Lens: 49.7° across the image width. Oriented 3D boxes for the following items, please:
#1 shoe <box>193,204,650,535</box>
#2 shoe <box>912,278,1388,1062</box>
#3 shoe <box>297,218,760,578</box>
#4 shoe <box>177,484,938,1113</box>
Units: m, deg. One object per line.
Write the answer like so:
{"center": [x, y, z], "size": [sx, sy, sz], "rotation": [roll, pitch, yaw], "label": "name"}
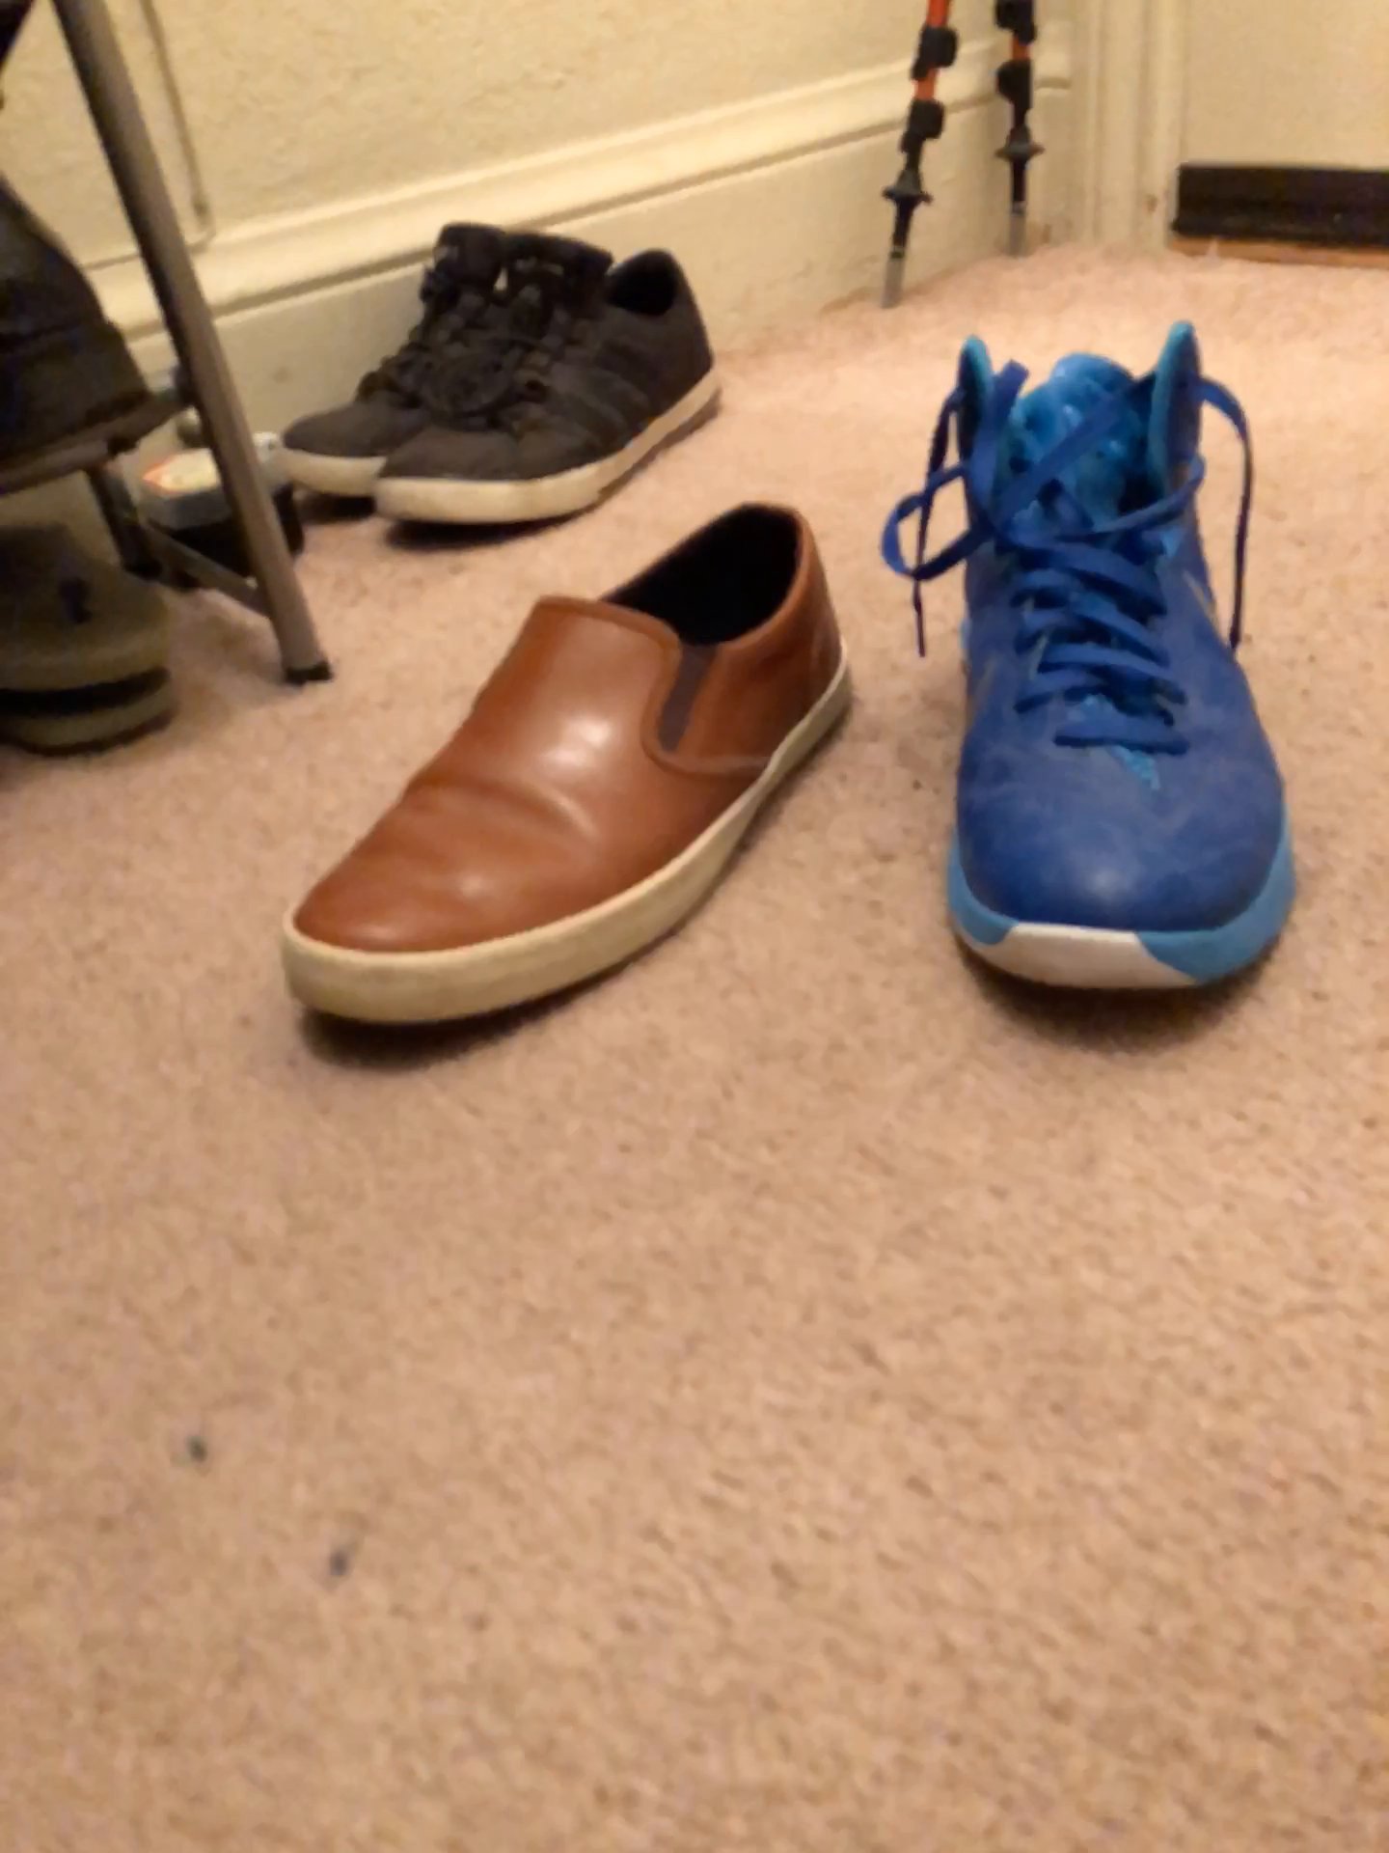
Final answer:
{"center": [-0.156, -0.359, 0.947], "size": [0.115, 0.112, 0.293], "rotation": [11, 39, 26], "label": "shoe"}
{"center": [0.144, -0.105, 0.512], "size": [0.115, 0.142, 0.294], "rotation": [0, 36, 13], "label": "shoe"}
{"center": [-0.081, -0.321, 0.884], "size": [0.115, 0.112, 0.293], "rotation": [11, 39, 26], "label": "shoe"}
{"center": [-0.029, -0.066, 0.541], "size": [0.105, 0.083, 0.283], "rotation": [17, 42, 33], "label": "shoe"}
